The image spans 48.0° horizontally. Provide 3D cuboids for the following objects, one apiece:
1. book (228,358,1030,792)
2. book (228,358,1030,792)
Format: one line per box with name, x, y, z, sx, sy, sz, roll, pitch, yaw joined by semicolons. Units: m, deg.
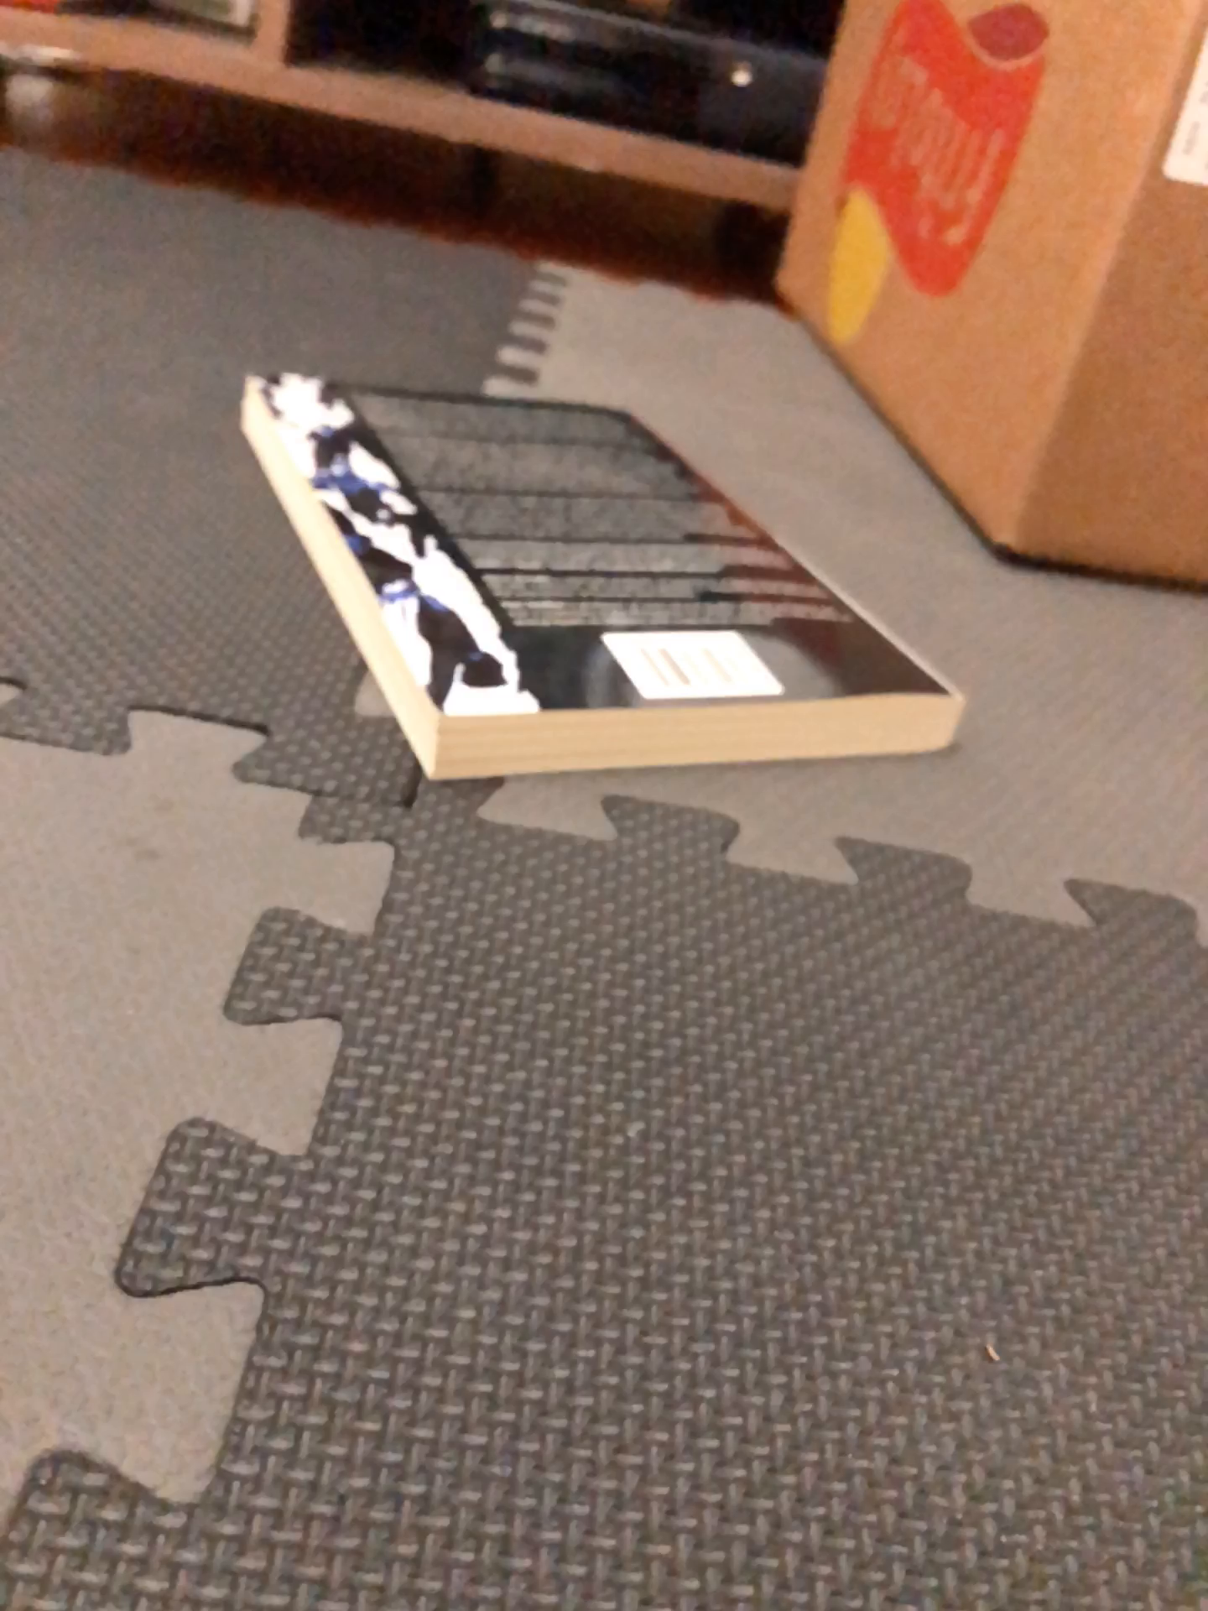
book;-0.010;-0.079;0.389;0.150;0.020;0.231;-4;35;-25
book;-0.010;-0.079;0.389;0.150;0.020;0.231;-4;35;-25
